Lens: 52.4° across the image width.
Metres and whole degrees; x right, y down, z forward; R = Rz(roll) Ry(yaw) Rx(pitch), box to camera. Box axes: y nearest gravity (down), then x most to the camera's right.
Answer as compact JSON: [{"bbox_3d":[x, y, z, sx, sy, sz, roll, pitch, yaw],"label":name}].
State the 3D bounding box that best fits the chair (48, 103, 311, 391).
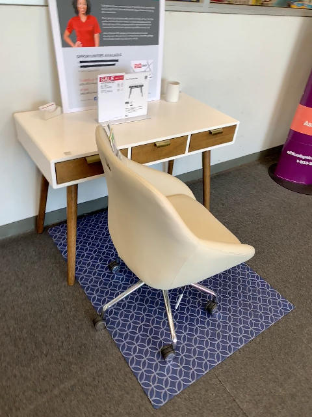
[{"bbox_3d":[0.053,0.082,1.298,0.692,0.736,0.672,-17,43,-29],"label":"chair"}]
